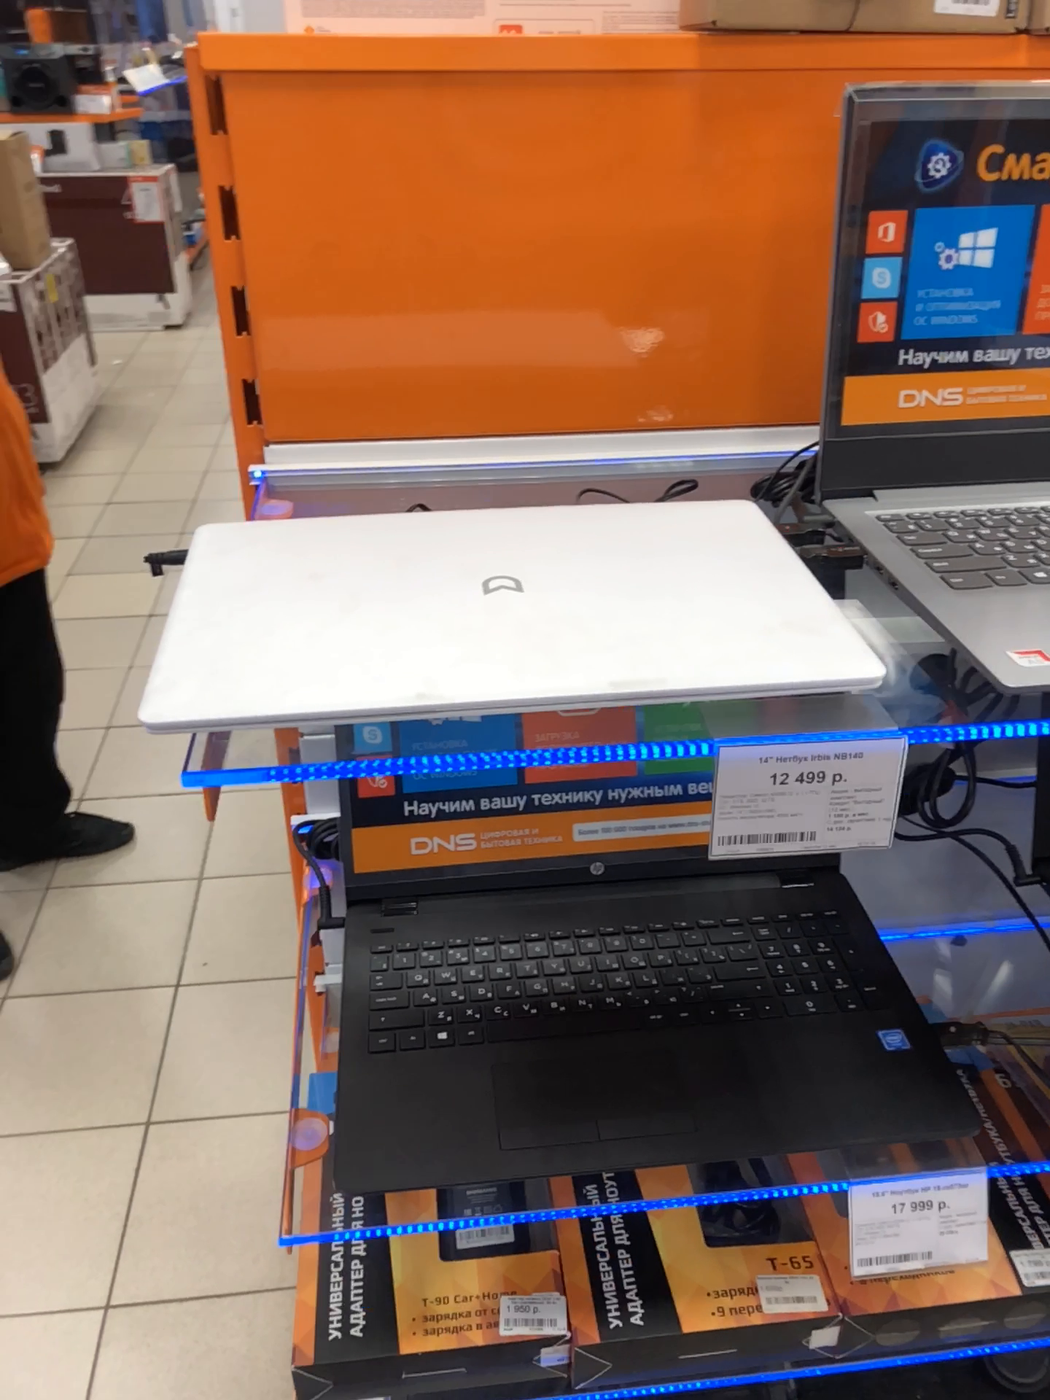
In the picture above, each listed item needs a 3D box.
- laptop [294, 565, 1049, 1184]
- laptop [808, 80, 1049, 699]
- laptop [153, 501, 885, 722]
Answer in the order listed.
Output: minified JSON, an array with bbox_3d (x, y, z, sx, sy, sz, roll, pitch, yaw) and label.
[{"bbox_3d":[0.061,0.088,0.727,0.364,0.228,0.307,-3,30,-3],"label":"laptop"},{"bbox_3d":[0.365,-0.183,0.586,0.344,0.224,0.280,-5,30,-7],"label":"laptop"},{"bbox_3d":[-0.010,-0.055,0.580,0.312,0.002,0.213,-4,30,-6],"label":"laptop"}]
